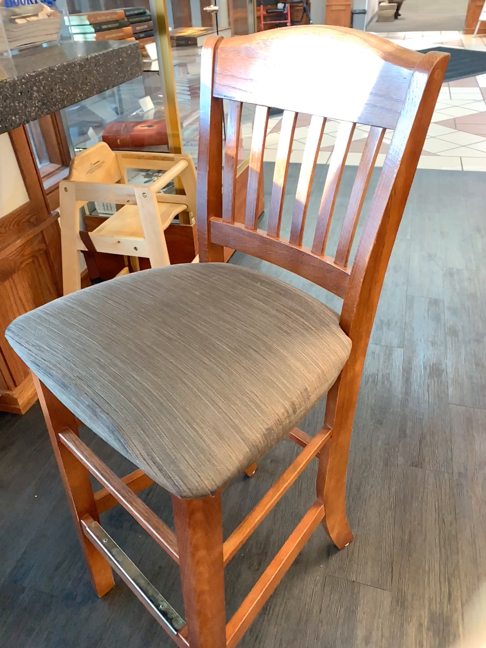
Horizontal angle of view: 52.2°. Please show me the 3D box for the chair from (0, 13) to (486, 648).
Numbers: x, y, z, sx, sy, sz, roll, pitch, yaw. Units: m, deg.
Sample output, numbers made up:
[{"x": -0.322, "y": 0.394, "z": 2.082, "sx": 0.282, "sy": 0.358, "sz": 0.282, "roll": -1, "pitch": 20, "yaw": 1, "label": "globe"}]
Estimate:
[{"x": -0.069, "y": 0.076, "z": 0.916, "sx": 0.661, "sy": 1.045, "sz": 0.602, "roll": -30, "pitch": 44, "yaw": -33, "label": "chair"}]
